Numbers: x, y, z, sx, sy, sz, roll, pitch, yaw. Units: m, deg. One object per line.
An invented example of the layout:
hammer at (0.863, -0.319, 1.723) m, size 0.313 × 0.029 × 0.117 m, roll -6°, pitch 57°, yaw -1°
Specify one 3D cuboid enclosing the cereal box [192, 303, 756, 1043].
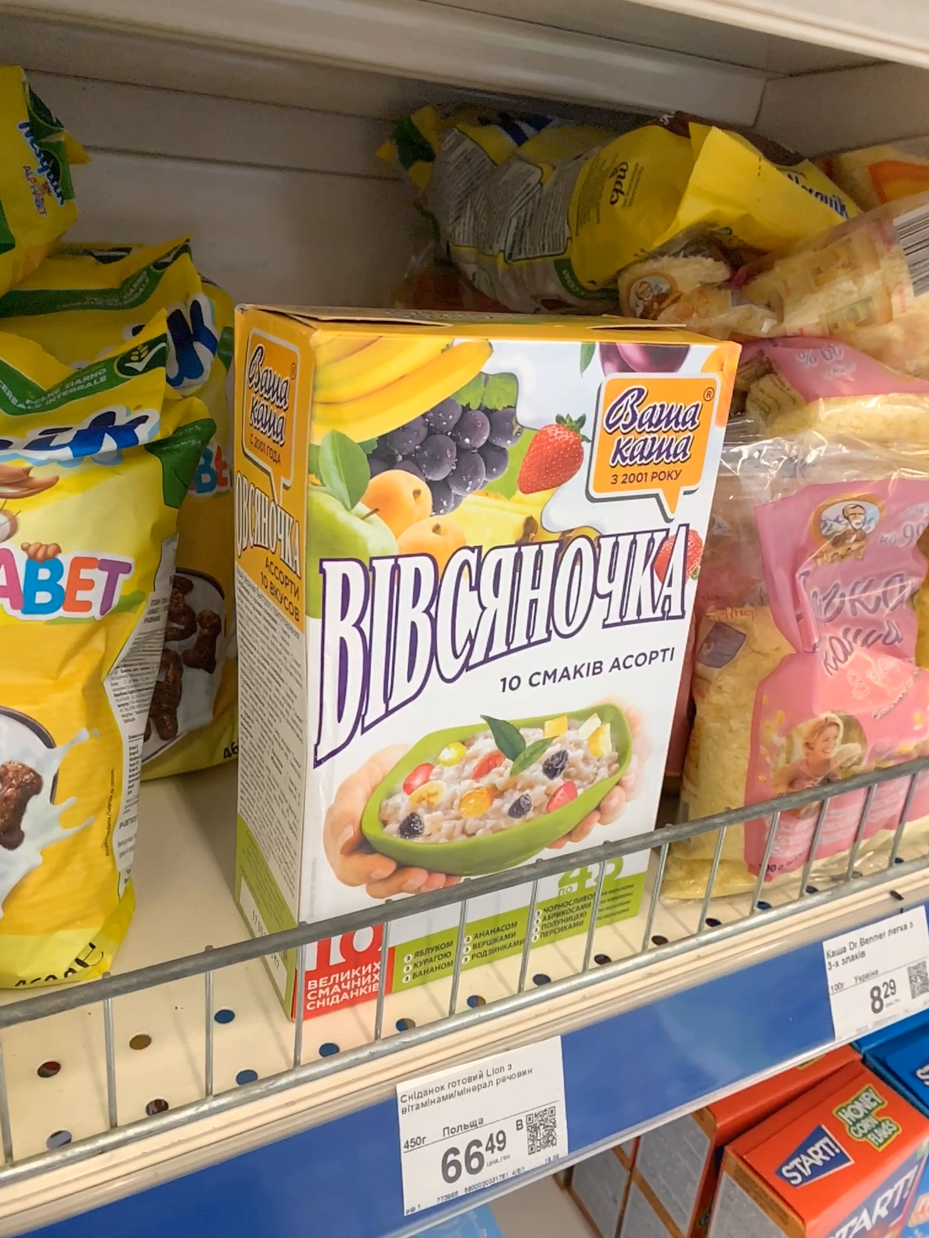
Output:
cereal box at (-0.003, 0.011, 0.319) m, size 0.150 × 0.208 × 0.070 m, roll -7°, pitch 23°, yaw -27°
